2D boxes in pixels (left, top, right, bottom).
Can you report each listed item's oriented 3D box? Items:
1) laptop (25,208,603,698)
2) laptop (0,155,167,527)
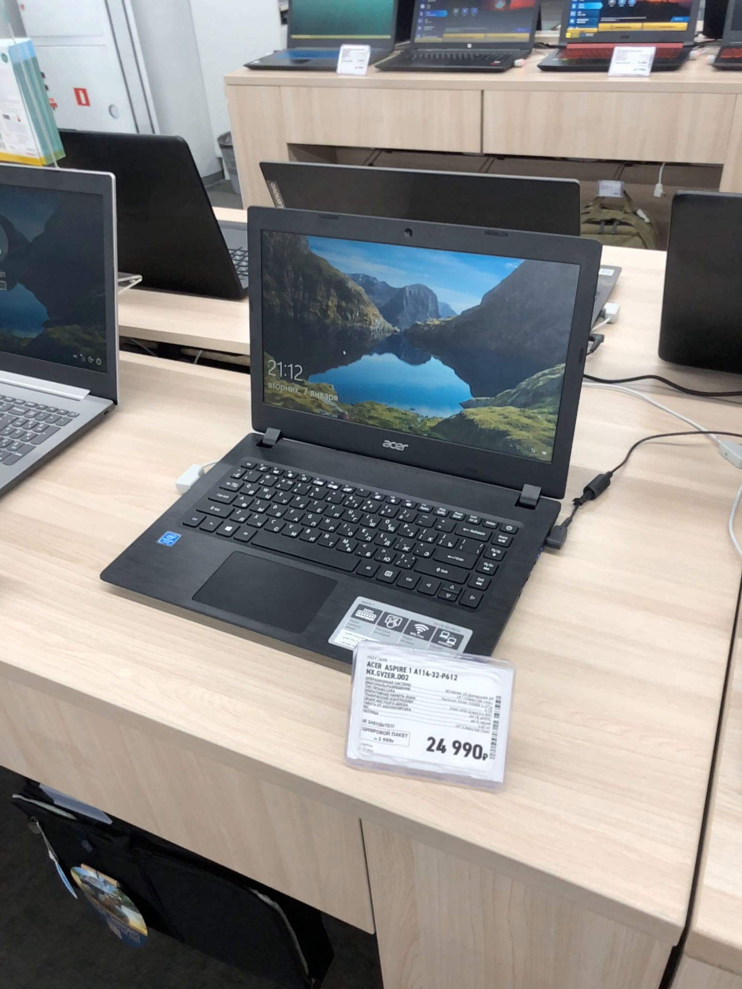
[{"bbox_3d":[-0.022,-0.068,0.690,0.343,0.223,0.303,13,41,23],"label":"laptop"},{"bbox_3d":[-0.509,-0.195,0.897,0.362,0.236,0.339,14,41,25],"label":"laptop"}]
